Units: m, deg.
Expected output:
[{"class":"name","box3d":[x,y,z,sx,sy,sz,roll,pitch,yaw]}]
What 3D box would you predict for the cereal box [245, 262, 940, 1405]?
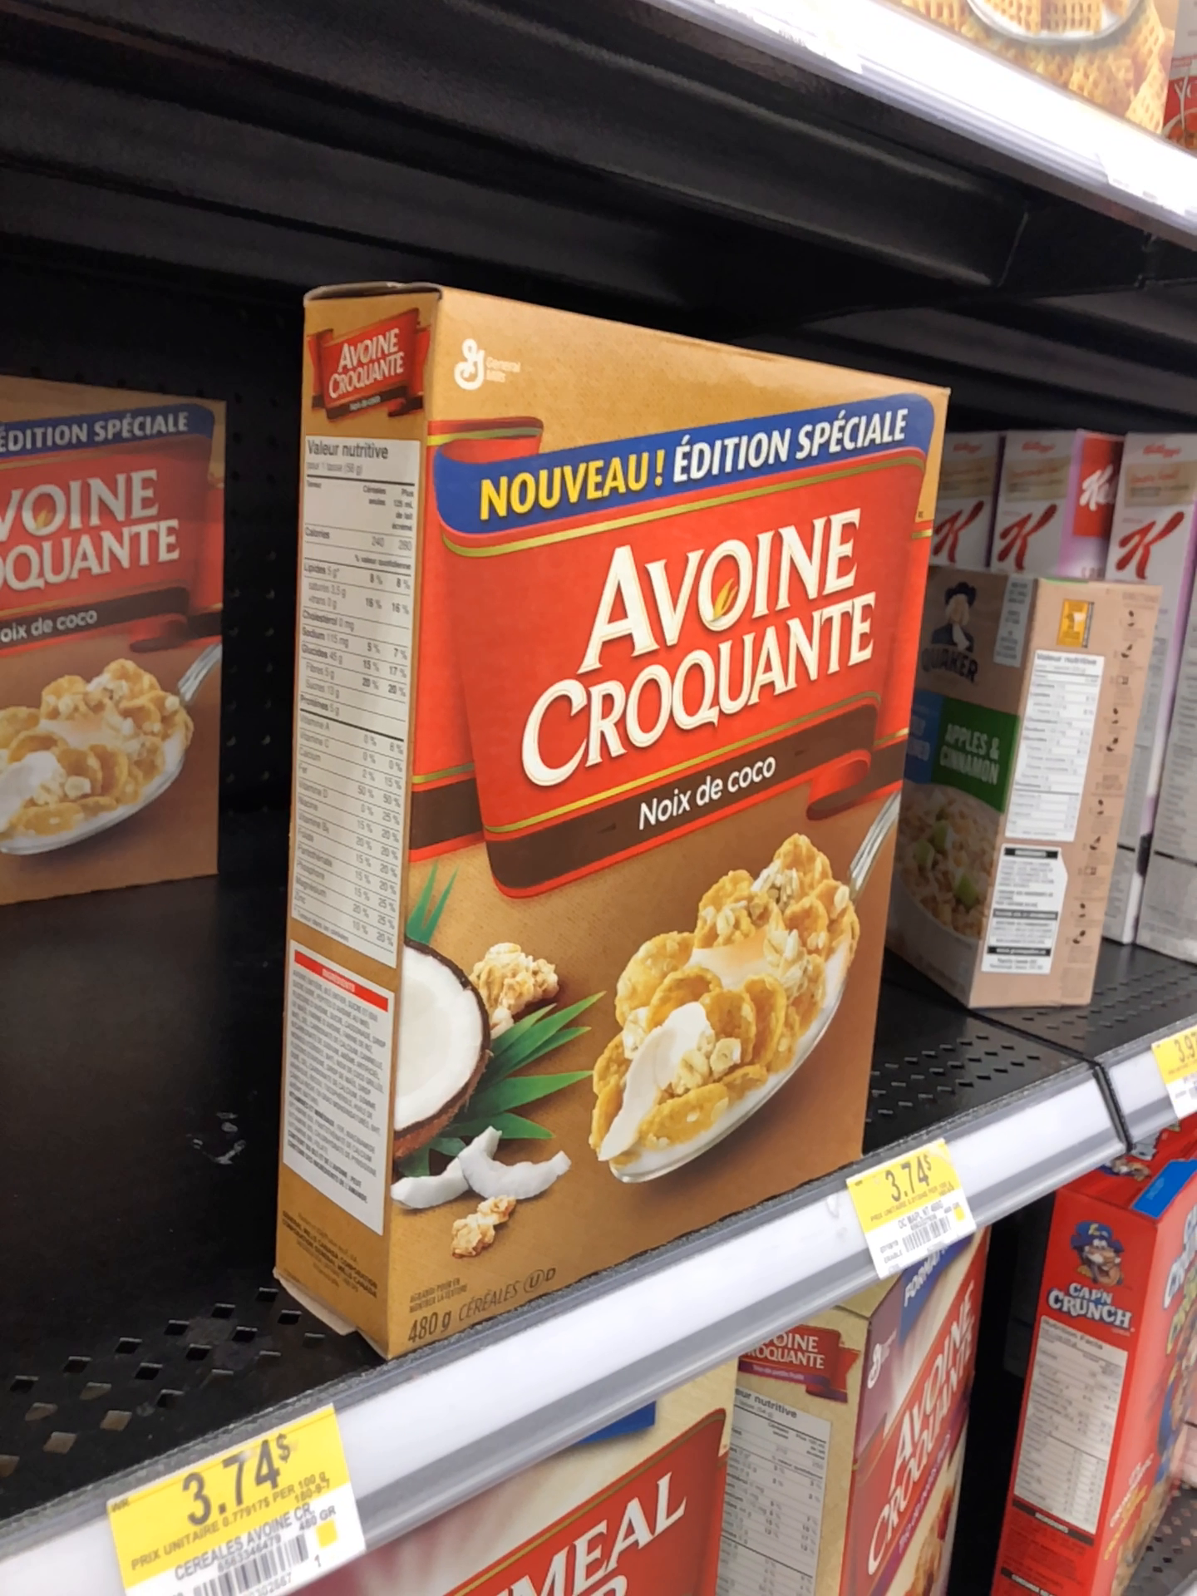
[{"class":"cereal box","box3d":[0.004,0.006,0.388,0.200,0.269,0.050,-6,15,-41]}]
